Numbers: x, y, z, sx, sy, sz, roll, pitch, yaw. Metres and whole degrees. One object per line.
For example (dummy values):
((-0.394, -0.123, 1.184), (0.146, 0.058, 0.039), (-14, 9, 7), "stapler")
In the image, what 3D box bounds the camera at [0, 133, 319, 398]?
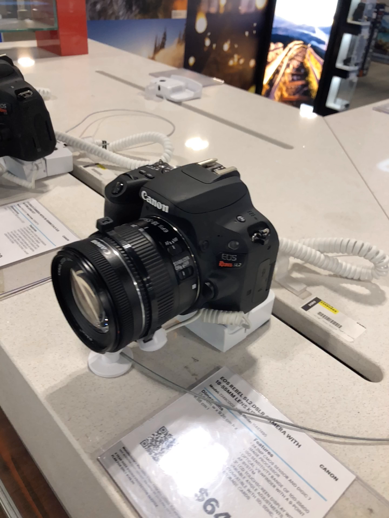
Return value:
((-0.024, -0.015, 0.279), (0.150, 0.070, 0.131), (-26, 45, -36), "camera")
